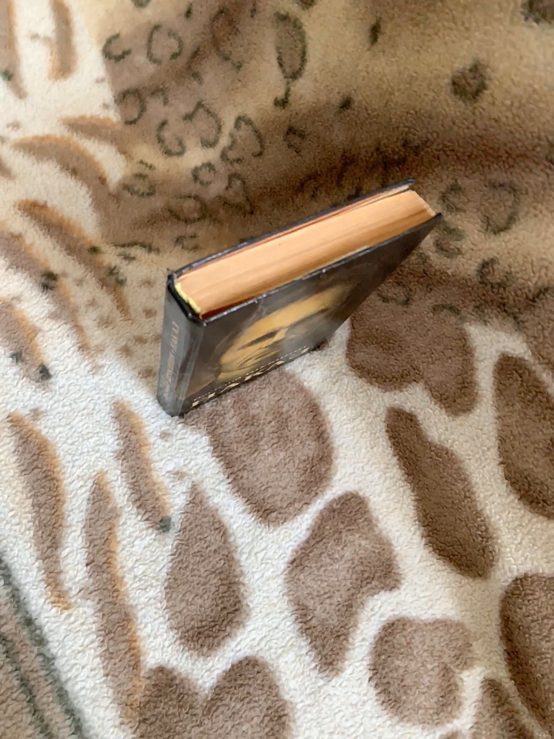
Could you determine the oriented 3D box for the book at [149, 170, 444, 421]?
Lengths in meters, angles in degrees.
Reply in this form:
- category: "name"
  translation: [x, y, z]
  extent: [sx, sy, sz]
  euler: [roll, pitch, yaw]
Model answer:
- category: "book"
  translation: [-0.008, -0.028, 0.335]
  extent: [0.130, 0.199, 0.030]
  euler: [-25, 82, -17]
